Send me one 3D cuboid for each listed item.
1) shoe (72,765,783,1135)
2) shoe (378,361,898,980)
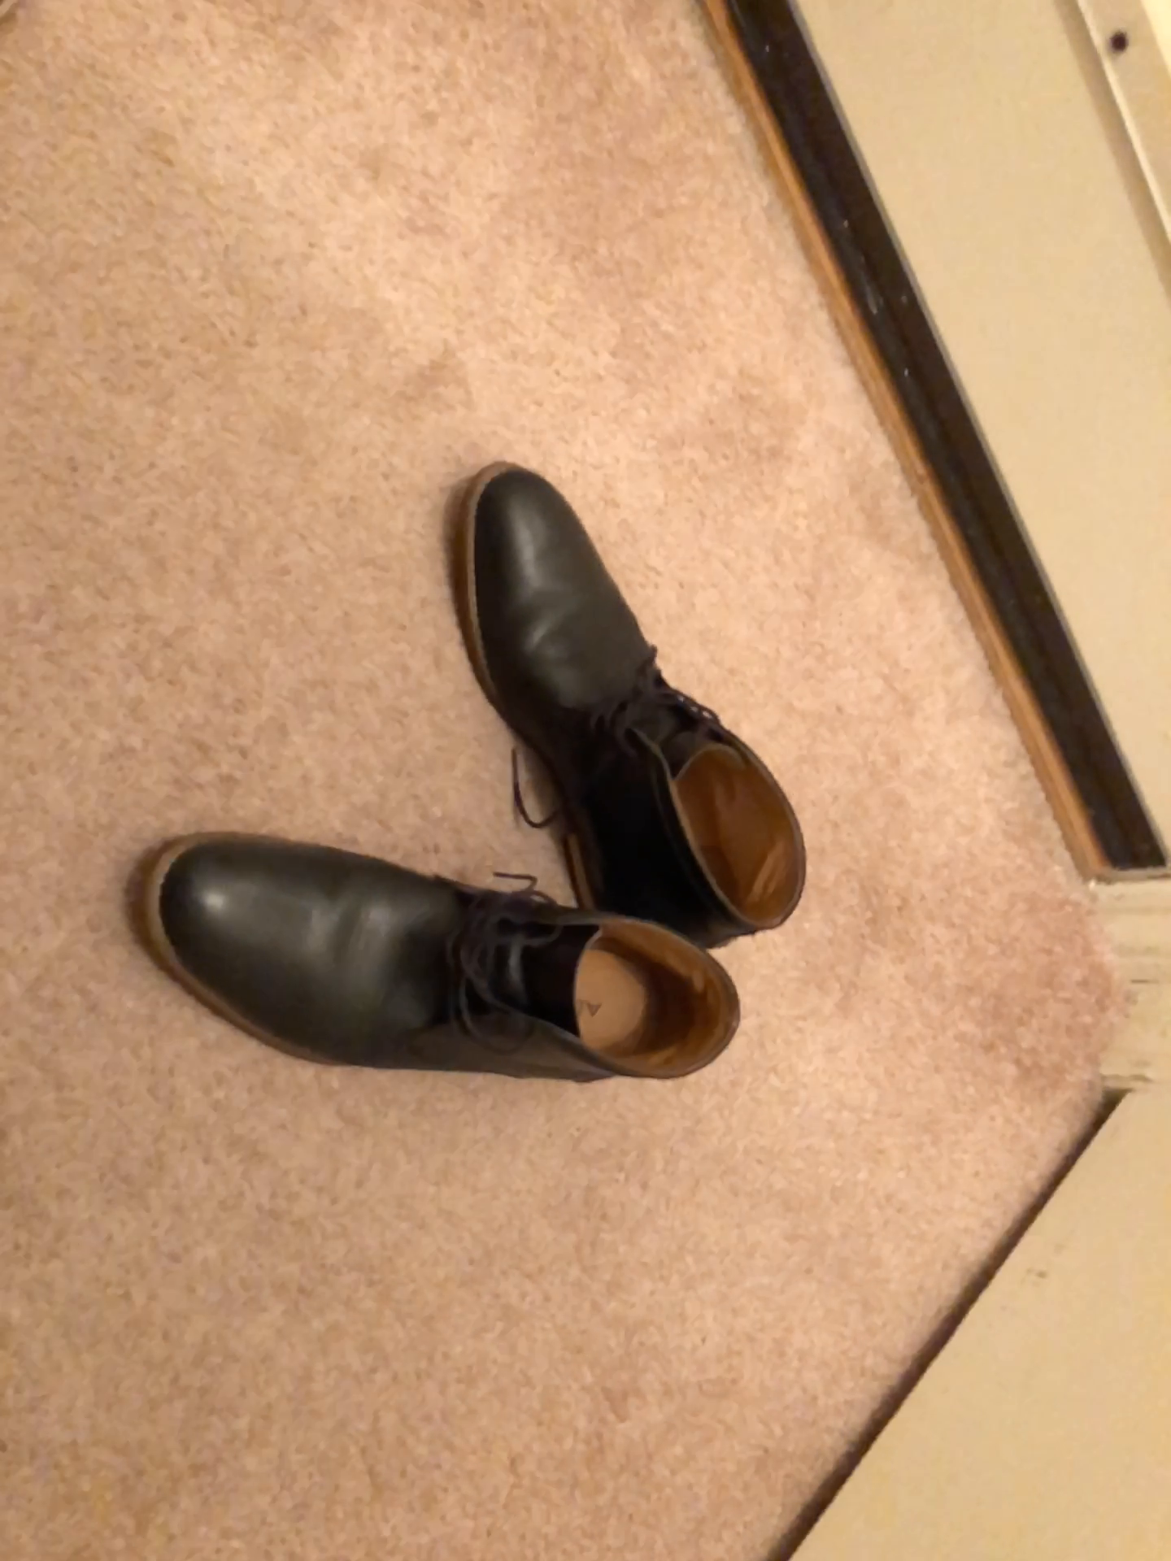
[{"bbox_3d":[-0.067,0.092,0.626,0.303,0.135,0.116,16,76,-32],"label":"shoe"},{"bbox_3d":[0.031,-0.050,0.714,0.117,0.135,0.302,-34,104,-32],"label":"shoe"}]
